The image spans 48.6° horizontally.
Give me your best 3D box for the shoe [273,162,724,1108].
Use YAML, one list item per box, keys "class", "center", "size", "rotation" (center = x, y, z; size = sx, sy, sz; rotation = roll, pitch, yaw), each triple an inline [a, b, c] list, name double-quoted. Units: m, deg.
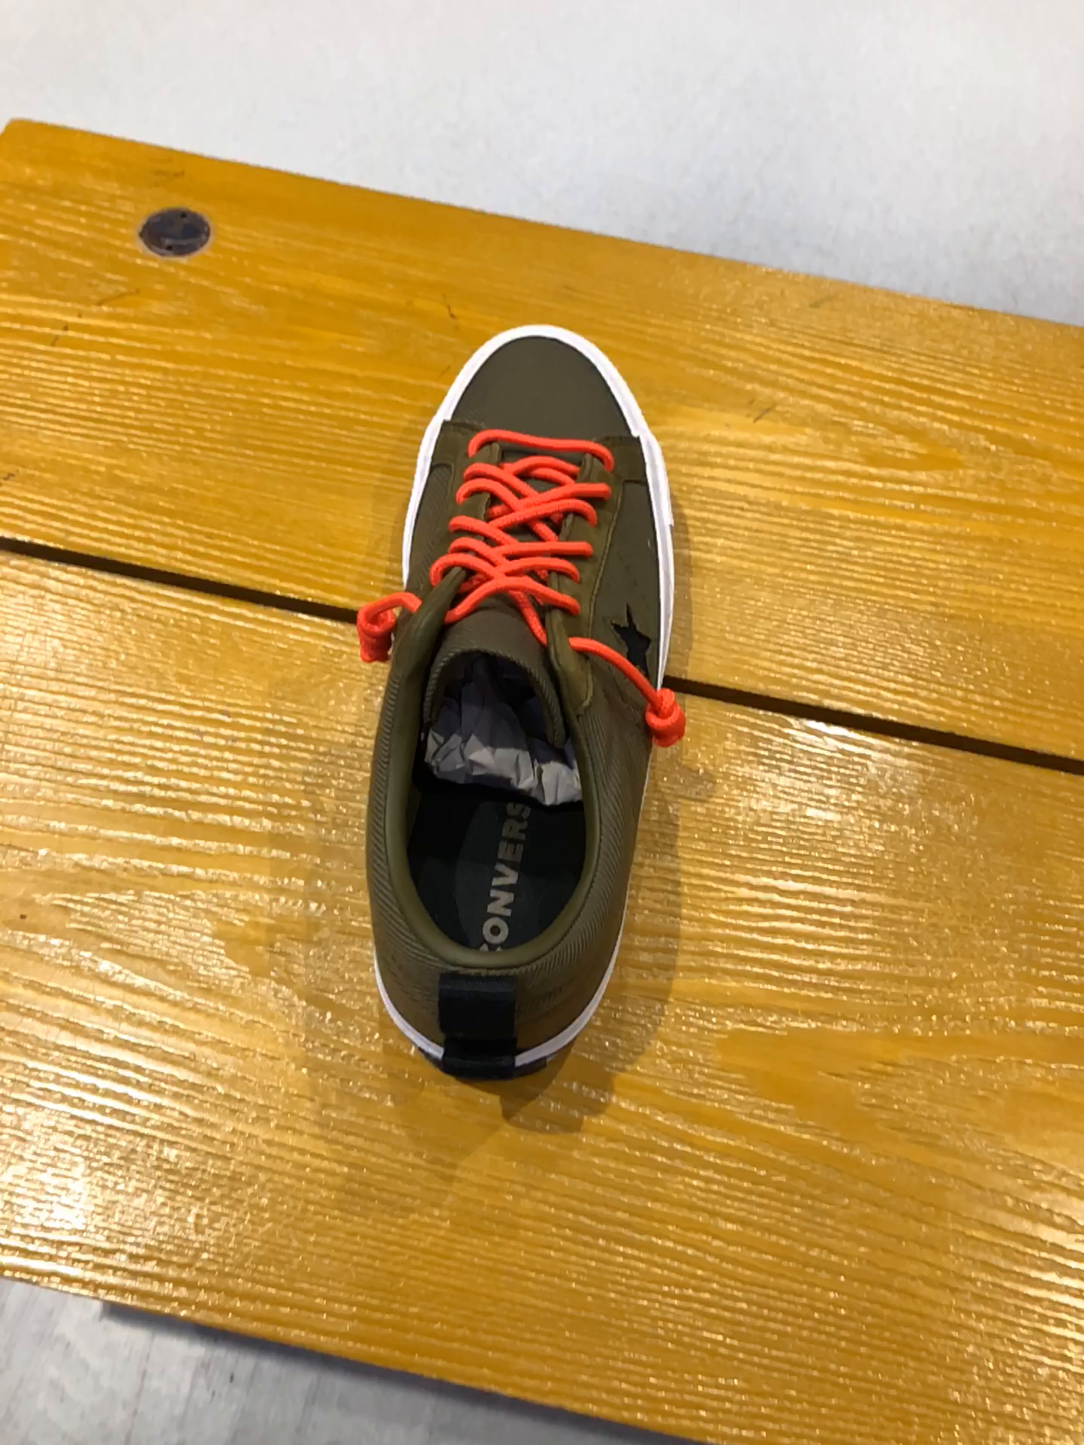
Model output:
- class: "shoe"
  center: [-0.002, -0.039, 0.392]
  size: [0.105, 0.097, 0.294]
  rotation: [5, 62, -1]
